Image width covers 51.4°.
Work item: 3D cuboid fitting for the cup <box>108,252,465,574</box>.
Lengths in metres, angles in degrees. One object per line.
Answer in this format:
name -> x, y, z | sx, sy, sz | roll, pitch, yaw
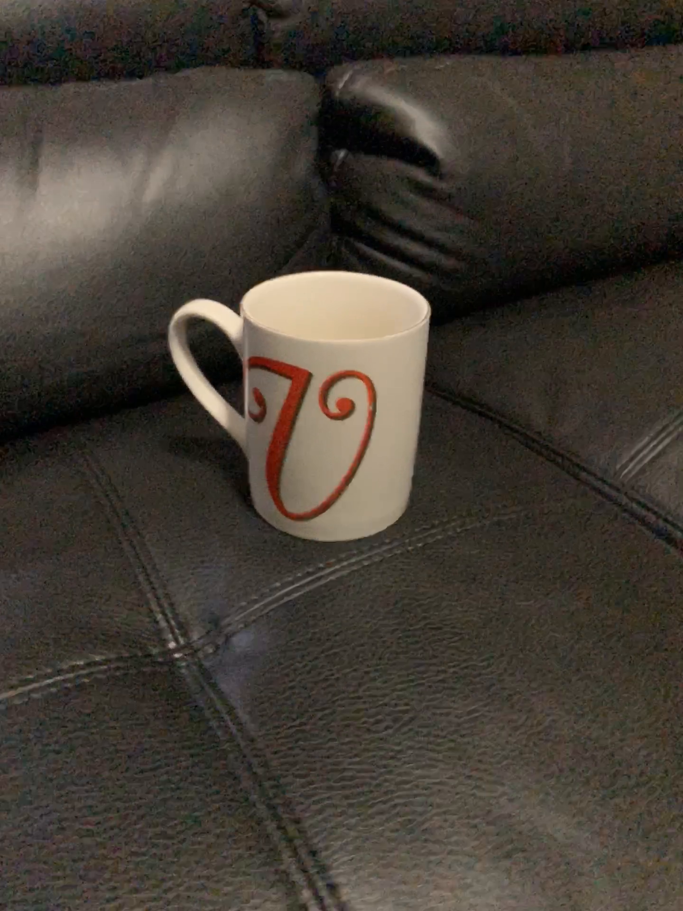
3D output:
cup -> -0.023, -0.029, 0.361 | 0.139, 0.106, 0.098 | 13, 33, 19
